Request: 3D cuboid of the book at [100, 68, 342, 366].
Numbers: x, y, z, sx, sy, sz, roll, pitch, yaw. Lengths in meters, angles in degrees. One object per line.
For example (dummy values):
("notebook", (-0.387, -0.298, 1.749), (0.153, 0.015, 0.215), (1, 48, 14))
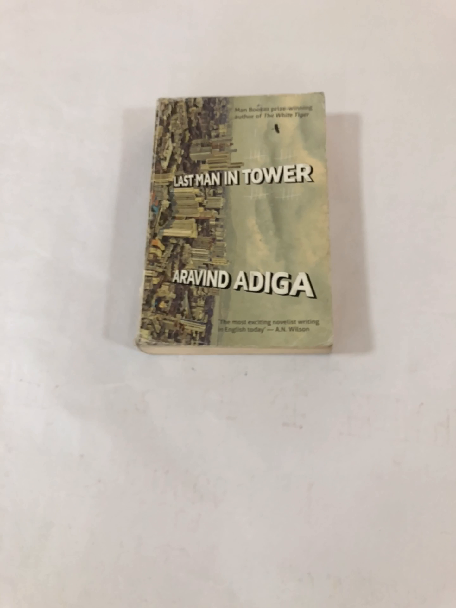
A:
("book", (-0.004, -0.067, 0.367), (0.150, 0.030, 0.220), (-1, 70, 4))
